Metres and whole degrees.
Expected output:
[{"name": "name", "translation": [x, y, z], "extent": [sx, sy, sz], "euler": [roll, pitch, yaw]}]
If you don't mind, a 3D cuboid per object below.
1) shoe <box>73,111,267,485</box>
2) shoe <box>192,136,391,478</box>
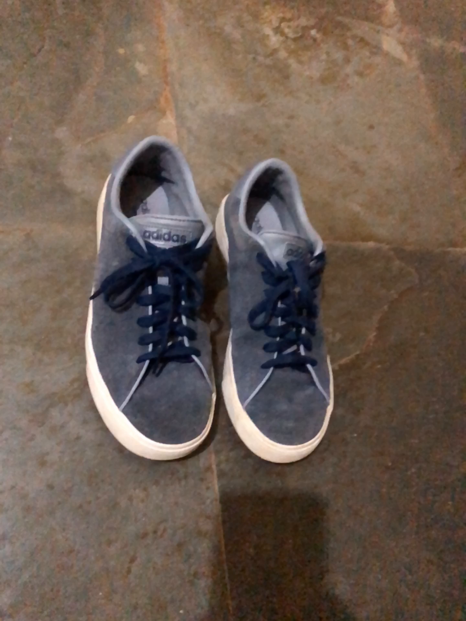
[{"name": "shoe", "translation": [-0.062, -0.015, 0.404], "extent": [0.110, 0.080, 0.271], "euler": [0, 67, -21]}, {"name": "shoe", "translation": [0.038, -0.008, 0.453], "extent": [0.110, 0.080, 0.281], "euler": [2, 66, -20]}]
